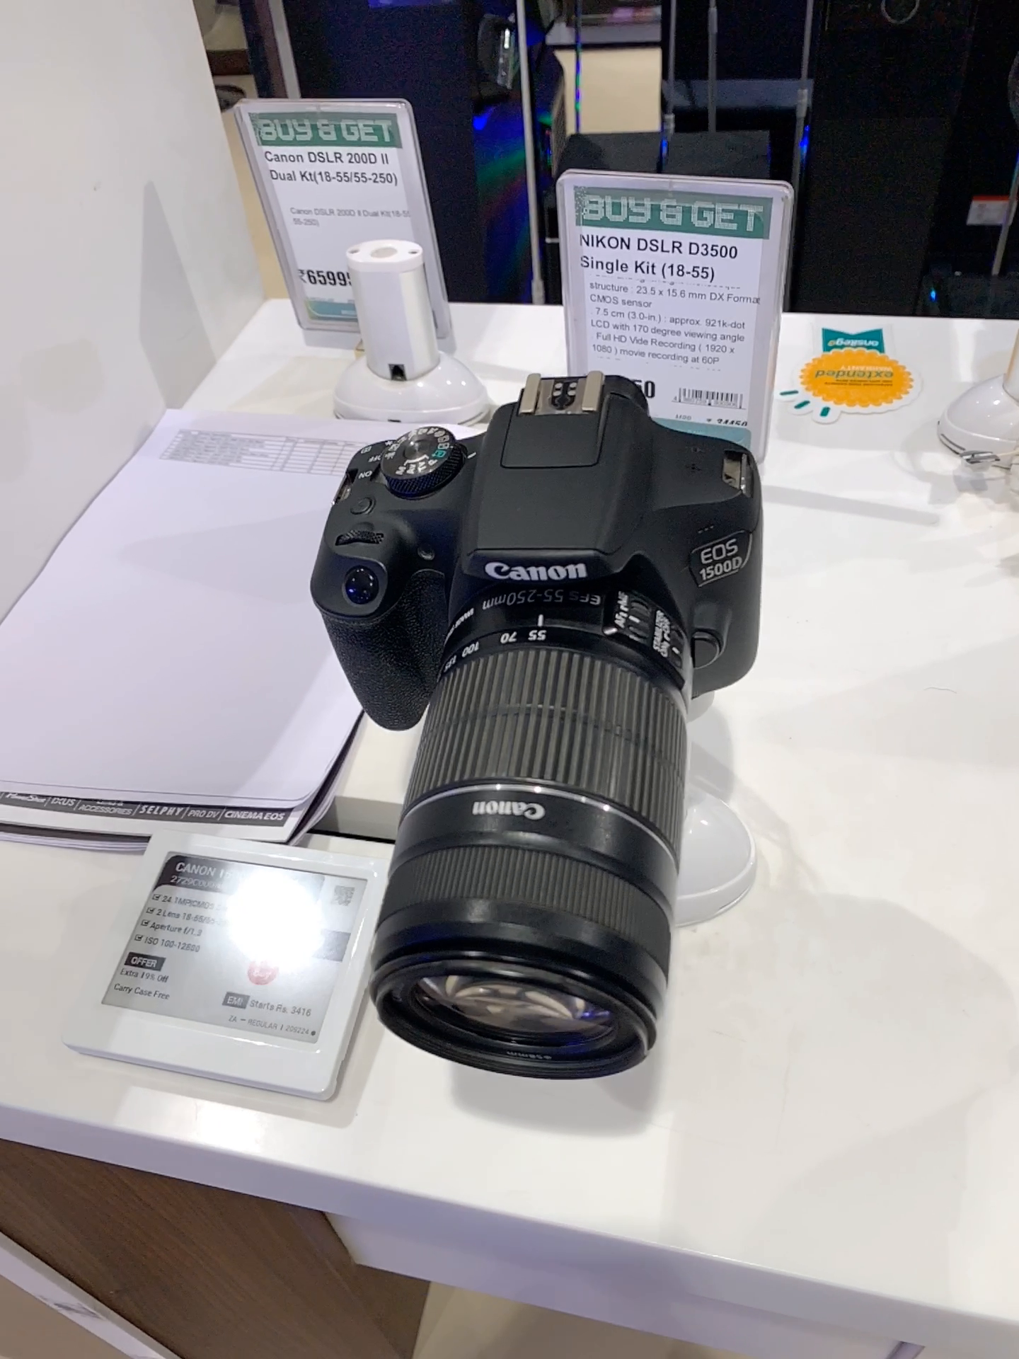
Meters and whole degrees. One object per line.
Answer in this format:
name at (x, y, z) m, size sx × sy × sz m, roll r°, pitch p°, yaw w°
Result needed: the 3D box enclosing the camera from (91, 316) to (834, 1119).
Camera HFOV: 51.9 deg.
camera at (0.007, -0.006, 0.275) m, size 0.130 × 0.090 × 0.191 m, roll 3°, pitch 47°, yaw 10°
